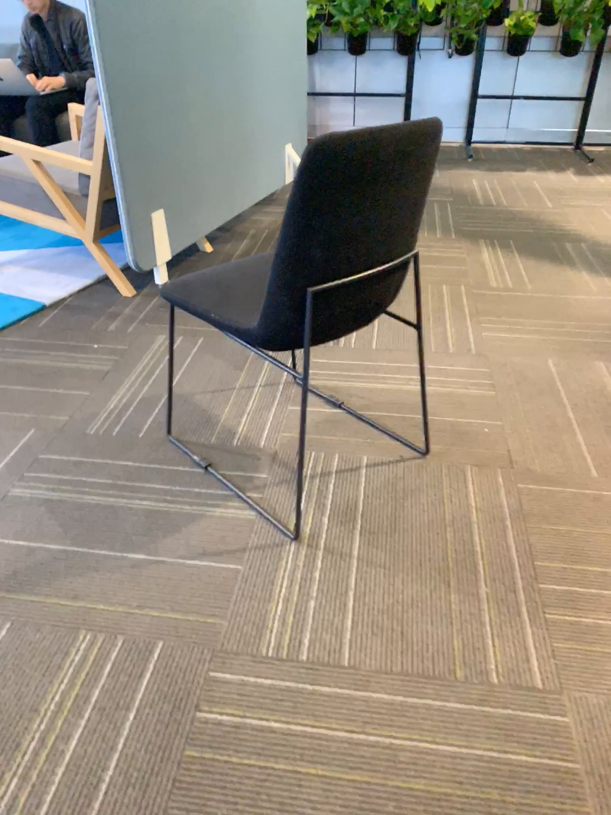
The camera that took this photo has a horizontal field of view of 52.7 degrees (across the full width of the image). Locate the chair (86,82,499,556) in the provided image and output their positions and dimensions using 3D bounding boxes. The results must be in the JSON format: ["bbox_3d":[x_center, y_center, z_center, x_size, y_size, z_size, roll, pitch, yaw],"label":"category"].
[{"bbox_3d":[-0.037,-0.232,1.310,0.491,0.745,0.573,-26,41,-34],"label":"chair"}]
